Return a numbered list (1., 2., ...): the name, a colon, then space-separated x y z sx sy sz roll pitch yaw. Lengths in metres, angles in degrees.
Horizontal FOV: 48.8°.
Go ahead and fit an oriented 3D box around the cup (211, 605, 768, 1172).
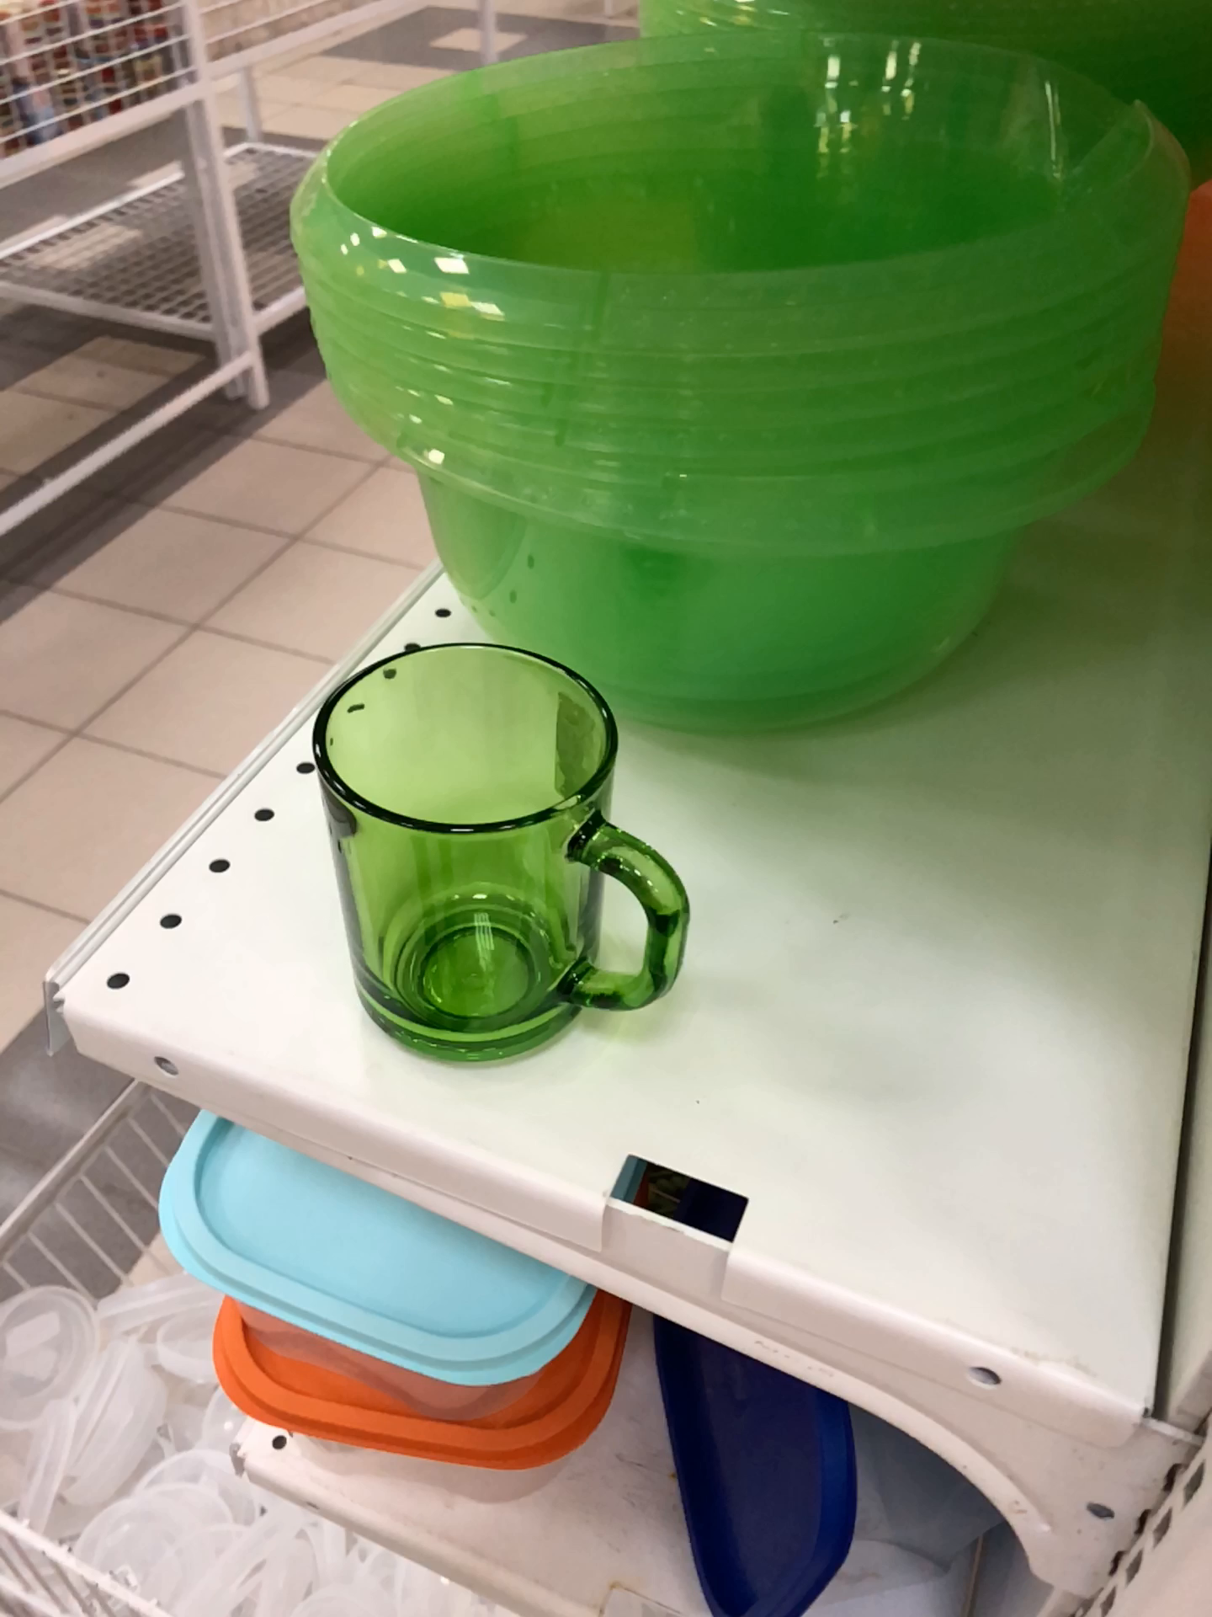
1. cup: -0.027 0.017 0.344 0.110 0.086 0.073 22 46 23
